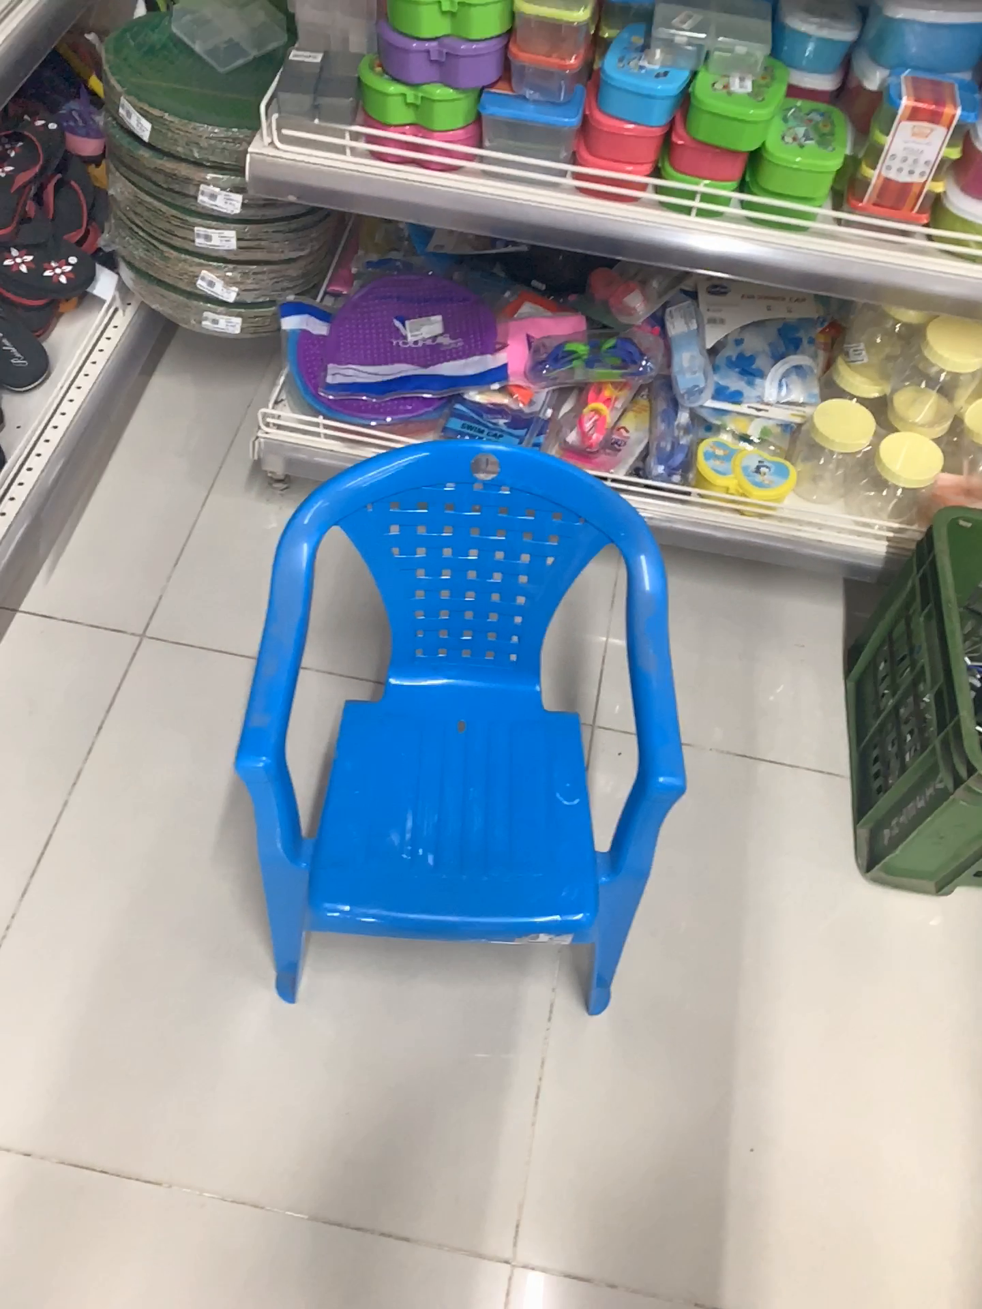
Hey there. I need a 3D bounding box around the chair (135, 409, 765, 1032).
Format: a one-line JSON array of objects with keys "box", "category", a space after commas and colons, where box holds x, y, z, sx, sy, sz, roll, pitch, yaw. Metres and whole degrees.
[{"box": [-0.030, 0.100, 0.945, 0.400, 0.509, 0.360, 4, 57, -1], "category": "chair"}]
